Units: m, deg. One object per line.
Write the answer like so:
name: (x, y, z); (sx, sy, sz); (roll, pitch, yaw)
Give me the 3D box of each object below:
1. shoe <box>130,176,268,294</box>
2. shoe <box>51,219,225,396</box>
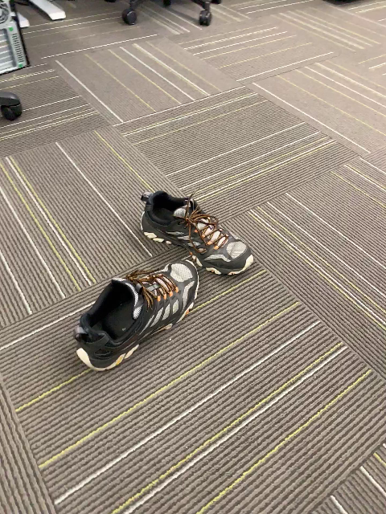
shoe: (0.008, -0.060, 0.943); (0.301, 0.119, 0.120); (29, 53, 21)
shoe: (-0.098, 0.093, 0.832); (0.140, 0.149, 0.341); (34, 55, 24)
